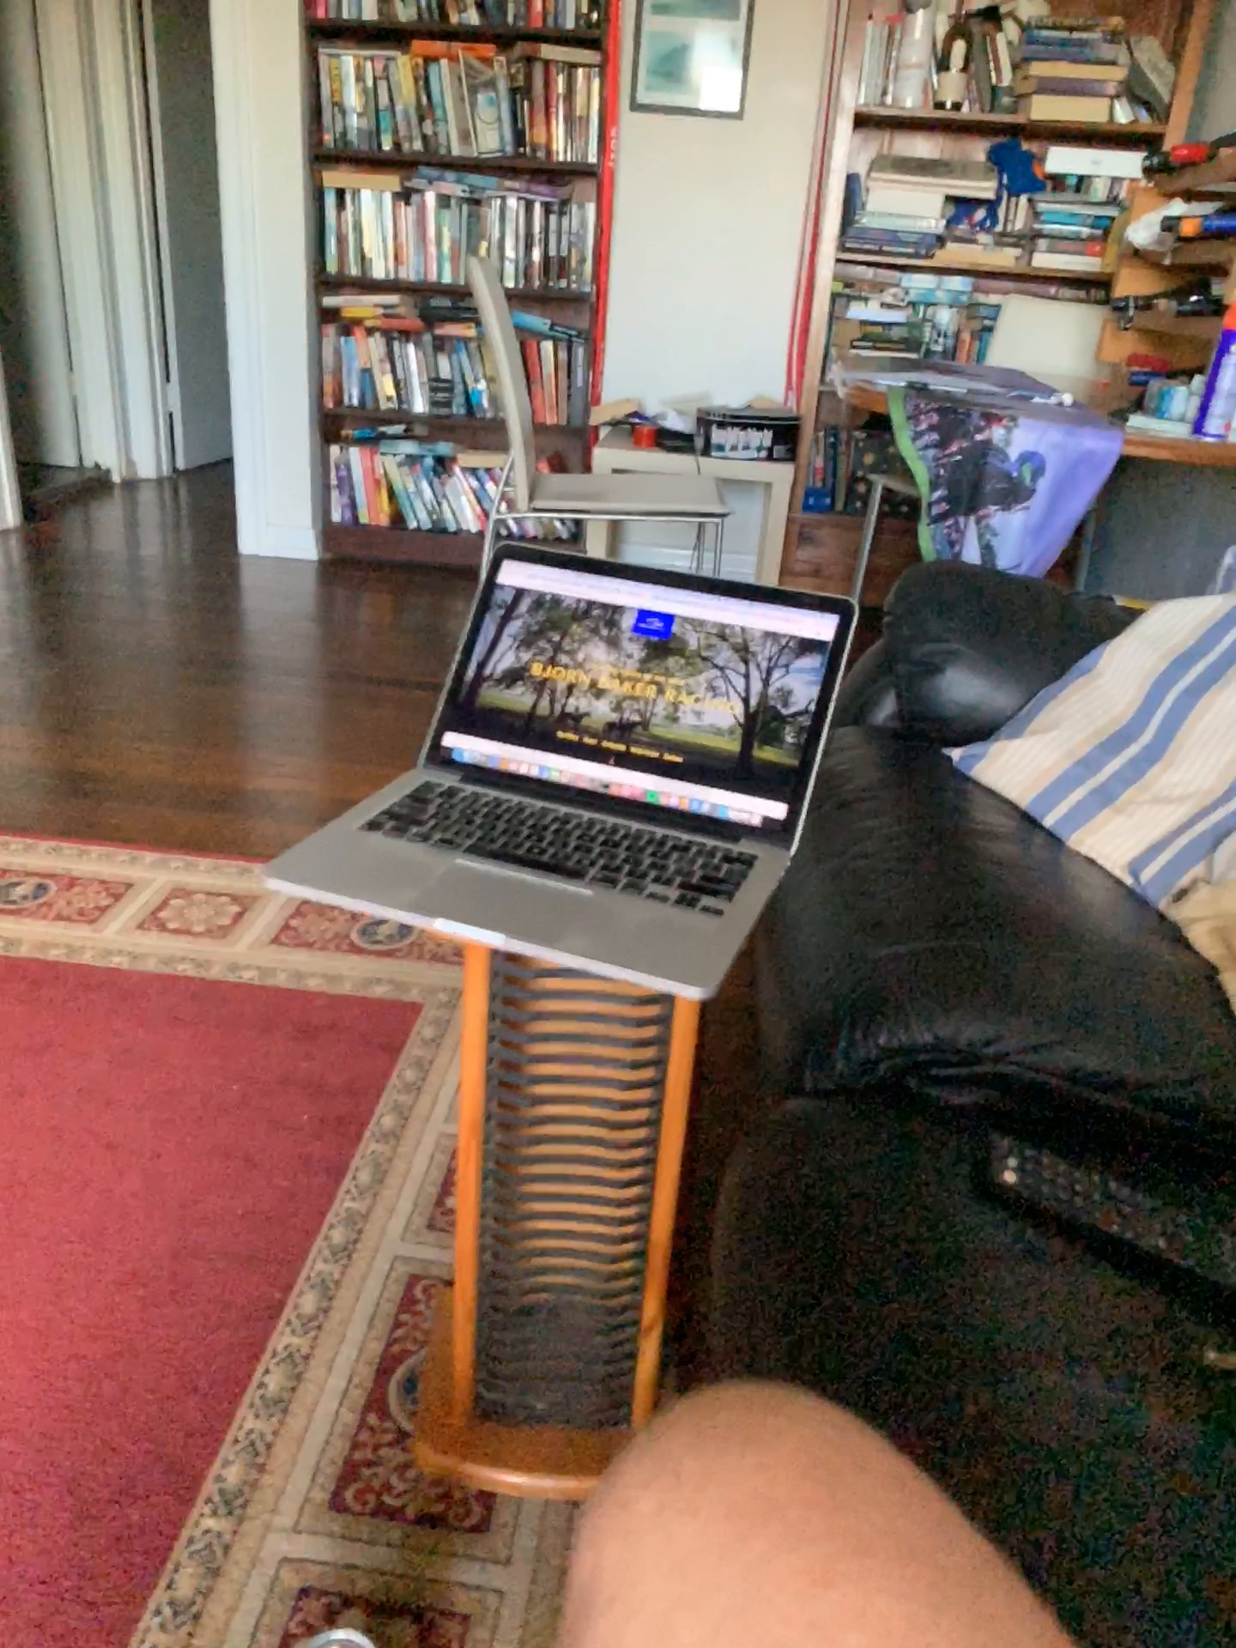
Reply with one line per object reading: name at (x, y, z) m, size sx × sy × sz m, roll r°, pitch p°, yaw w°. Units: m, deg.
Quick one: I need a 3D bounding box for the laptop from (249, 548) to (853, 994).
laptop at (-0.027, -0.068, 0.892) m, size 0.312 × 0.161 × 0.341 m, roll 13°, pitch 24°, yaw 17°
